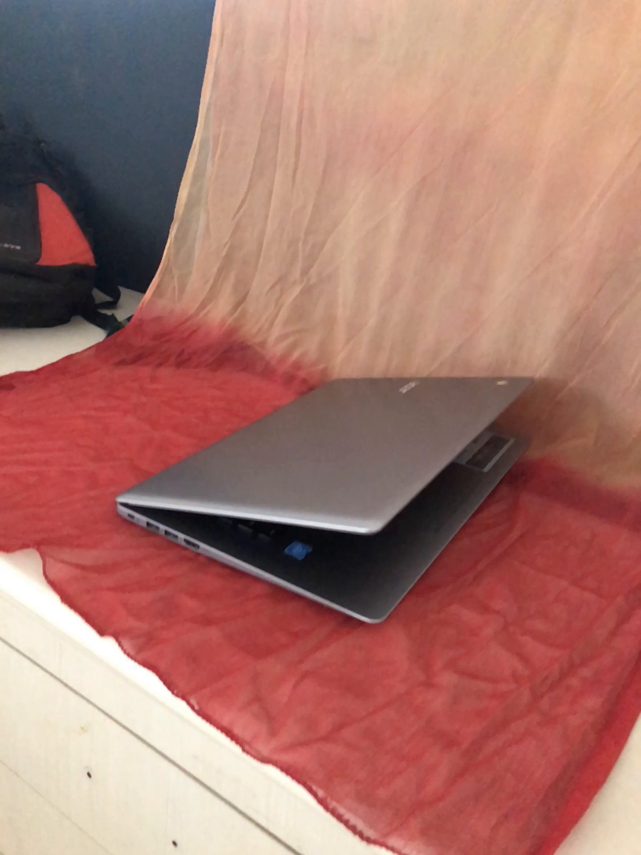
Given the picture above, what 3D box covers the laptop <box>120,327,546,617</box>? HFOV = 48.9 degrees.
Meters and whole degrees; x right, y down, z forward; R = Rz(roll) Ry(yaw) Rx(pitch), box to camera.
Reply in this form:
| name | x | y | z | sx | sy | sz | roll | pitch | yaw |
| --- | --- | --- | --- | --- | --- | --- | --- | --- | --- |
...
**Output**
| name | x | y | z | sx | sy | sz | roll | pitch | yaw |
| --- | --- | --- | --- | --- | --- | --- | --- | --- | --- |
| laptop | 0.030 | 0.004 | 0.593 | 0.219 | 0.065 | 0.323 | 17 | 28 | 27 |
